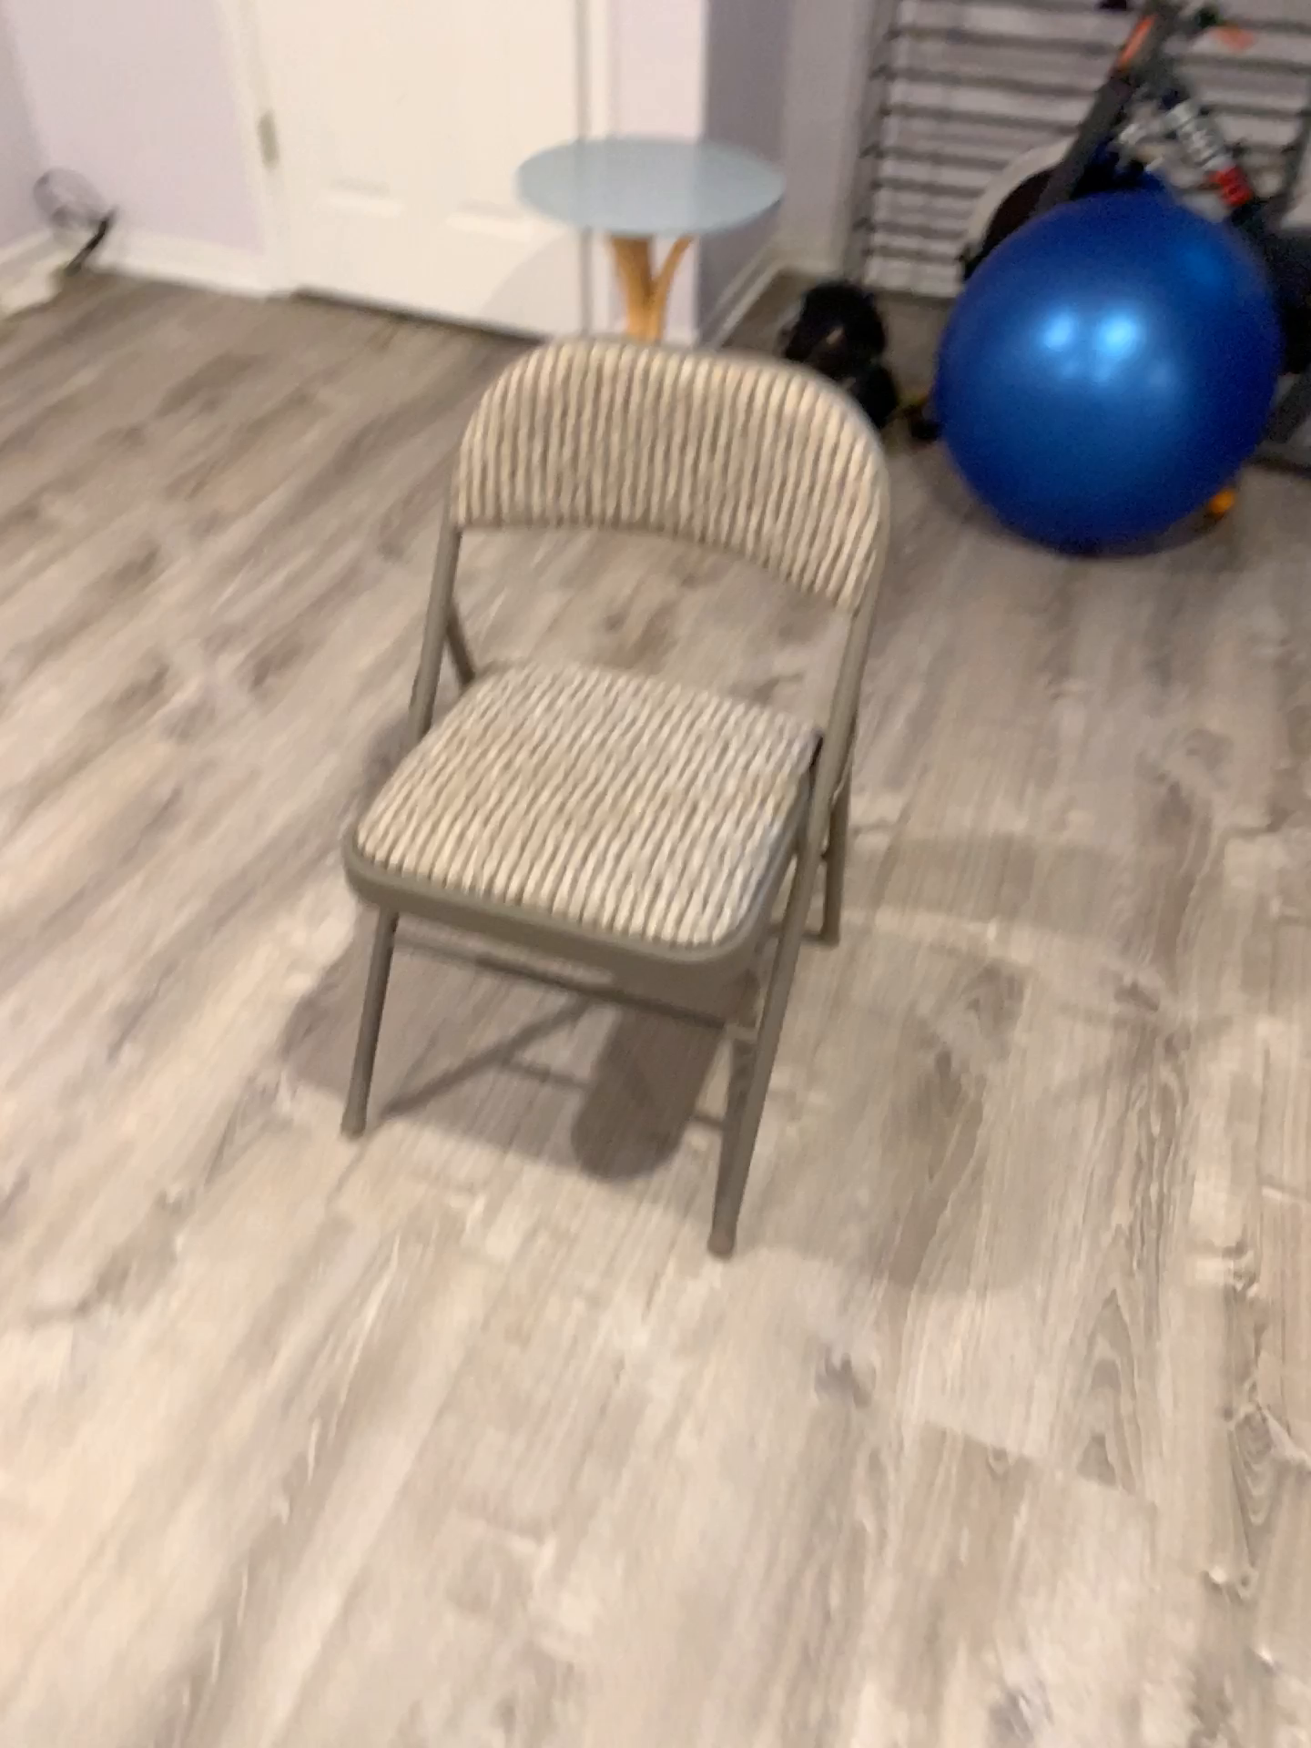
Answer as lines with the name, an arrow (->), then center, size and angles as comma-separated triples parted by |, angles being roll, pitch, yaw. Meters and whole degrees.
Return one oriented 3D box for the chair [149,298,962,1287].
chair -> -0.044, -0.089, 1.375 | 0.501, 0.708, 0.589 | 13, 45, 13
